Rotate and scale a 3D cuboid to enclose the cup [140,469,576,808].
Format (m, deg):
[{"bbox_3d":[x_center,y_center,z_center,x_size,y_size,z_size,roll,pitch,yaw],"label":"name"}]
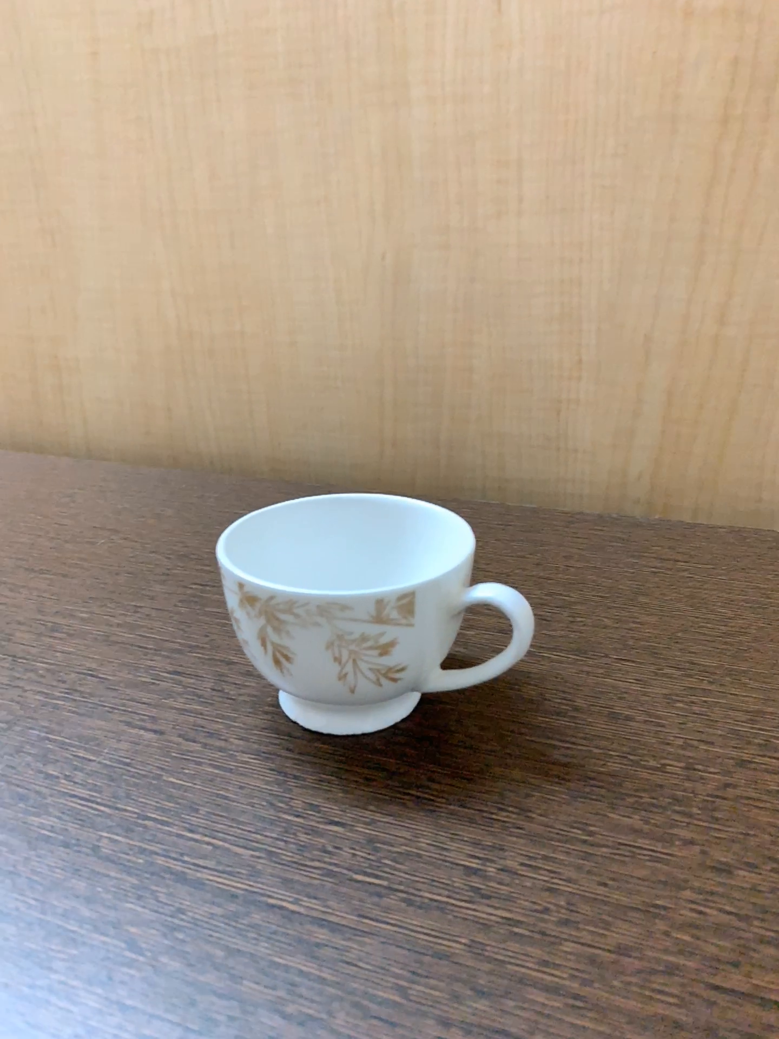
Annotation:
[{"bbox_3d":[-0.005,0.026,0.241,0.100,0.050,0.080,9,23,24],"label":"cup"}]
